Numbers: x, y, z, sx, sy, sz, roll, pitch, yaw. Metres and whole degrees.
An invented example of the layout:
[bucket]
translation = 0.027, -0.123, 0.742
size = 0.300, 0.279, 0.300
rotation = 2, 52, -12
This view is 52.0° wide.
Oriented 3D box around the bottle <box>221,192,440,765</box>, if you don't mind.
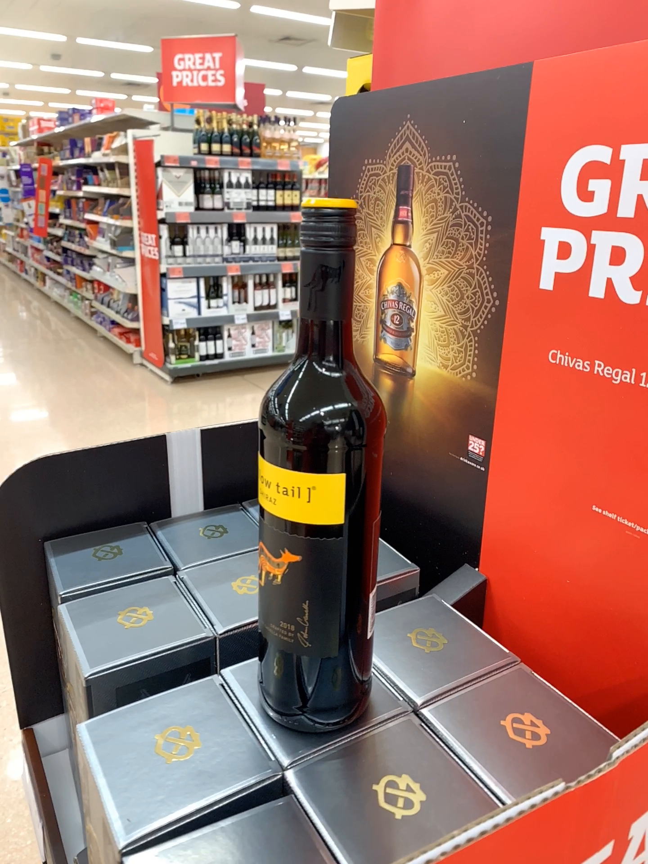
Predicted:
[bottle]
translation = -0.002, 0.027, 0.379
size = 0.081, 0.305, 0.078
rotation = 1, 19, 0
